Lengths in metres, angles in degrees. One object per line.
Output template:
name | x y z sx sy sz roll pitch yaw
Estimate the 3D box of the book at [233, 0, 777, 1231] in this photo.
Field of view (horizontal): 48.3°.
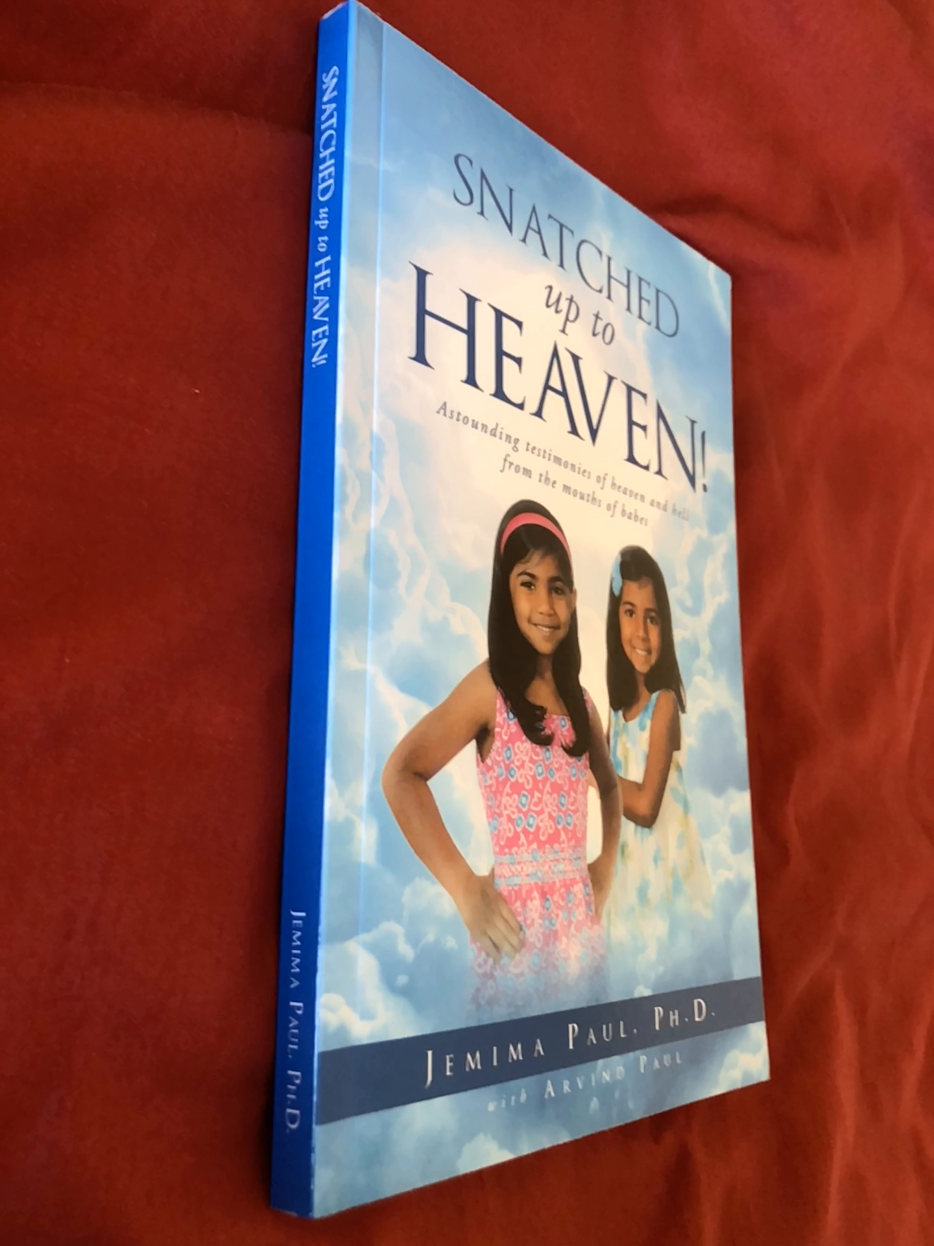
book | 0.021 -0.002 0.231 0.141 0.020 0.212 13 73 -45
